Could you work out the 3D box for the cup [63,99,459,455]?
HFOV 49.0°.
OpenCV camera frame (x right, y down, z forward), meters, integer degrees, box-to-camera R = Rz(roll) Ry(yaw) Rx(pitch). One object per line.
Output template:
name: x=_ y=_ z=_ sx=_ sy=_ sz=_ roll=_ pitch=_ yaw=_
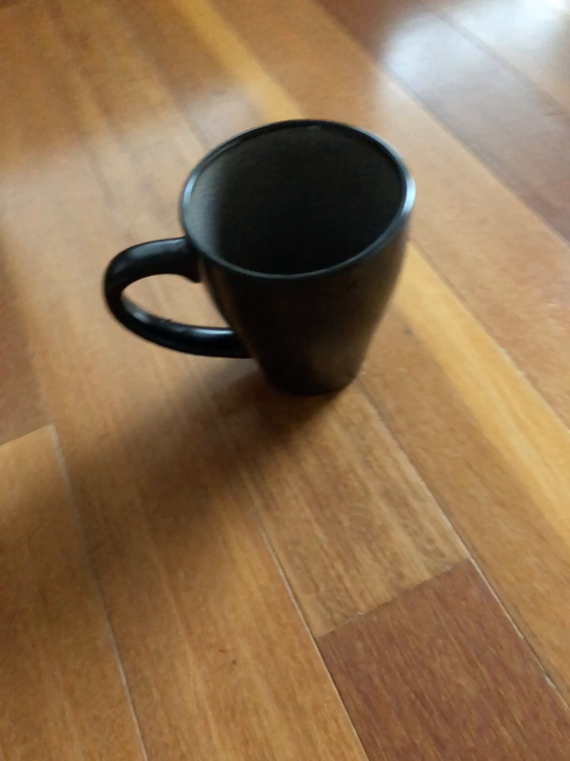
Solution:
cup: x=-0.010 y=-0.041 z=0.279 sx=0.137 sy=0.100 sz=0.090 roll=-11 pitch=57 yaw=0
